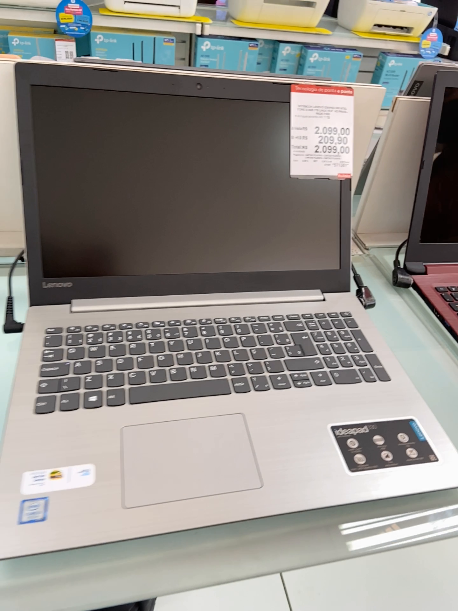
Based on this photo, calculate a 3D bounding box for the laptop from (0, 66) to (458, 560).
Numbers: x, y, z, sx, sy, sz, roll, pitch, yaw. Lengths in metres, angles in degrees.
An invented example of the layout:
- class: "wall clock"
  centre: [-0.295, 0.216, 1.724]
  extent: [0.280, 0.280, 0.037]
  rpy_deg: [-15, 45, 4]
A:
- class: "laptop"
  centre: [-0.005, -0.047, 0.428]
  extent: [0.371, 0.194, 0.391]
  rpy_deg: [-2, 40, -13]
